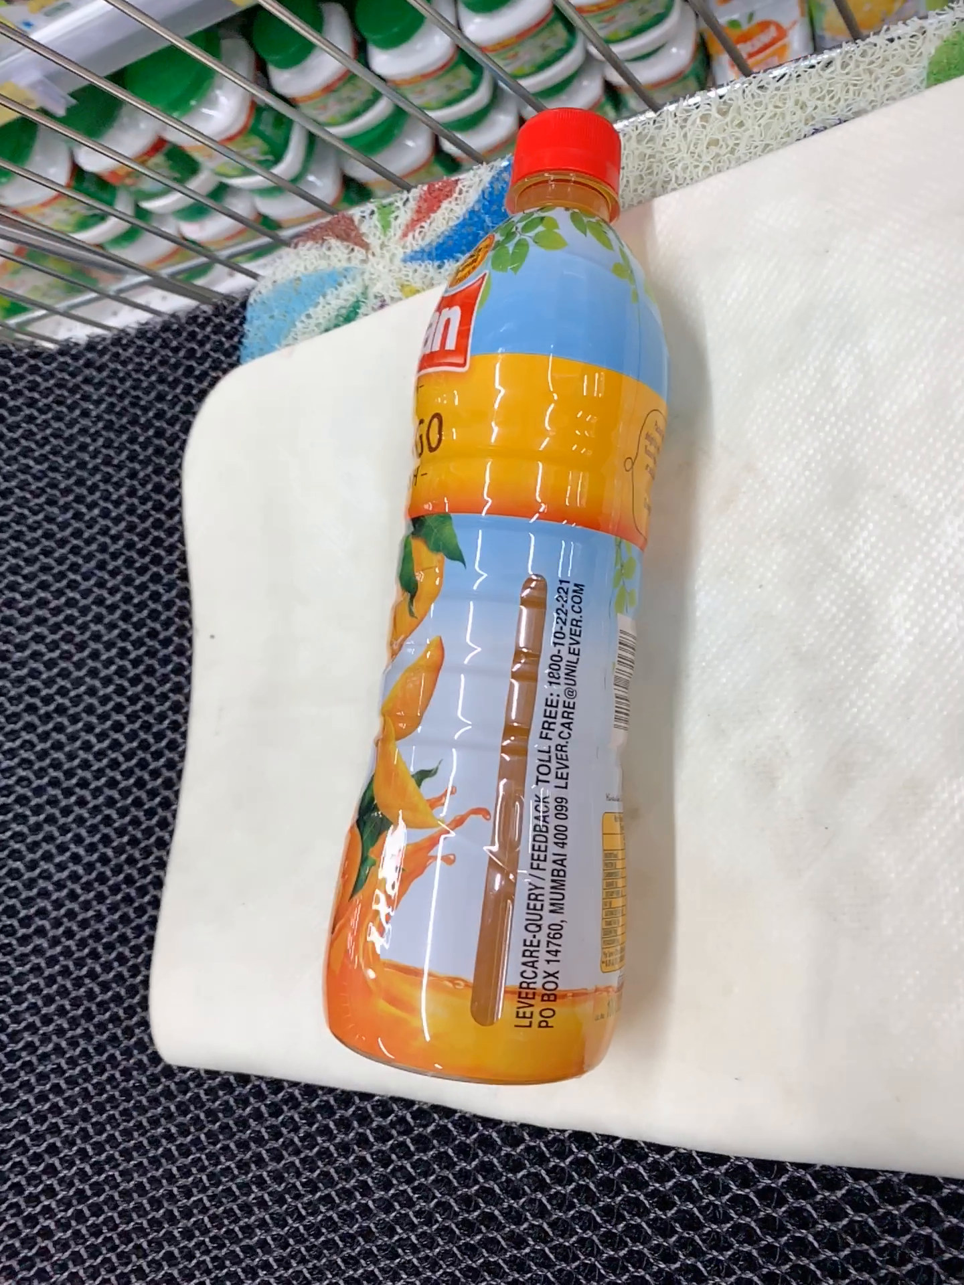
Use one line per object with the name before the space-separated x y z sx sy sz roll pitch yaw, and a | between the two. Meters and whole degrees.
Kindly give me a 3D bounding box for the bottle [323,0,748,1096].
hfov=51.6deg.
bottle | 0.011 -0.023 0.241 0.080 0.070 0.230 2 88 -1
